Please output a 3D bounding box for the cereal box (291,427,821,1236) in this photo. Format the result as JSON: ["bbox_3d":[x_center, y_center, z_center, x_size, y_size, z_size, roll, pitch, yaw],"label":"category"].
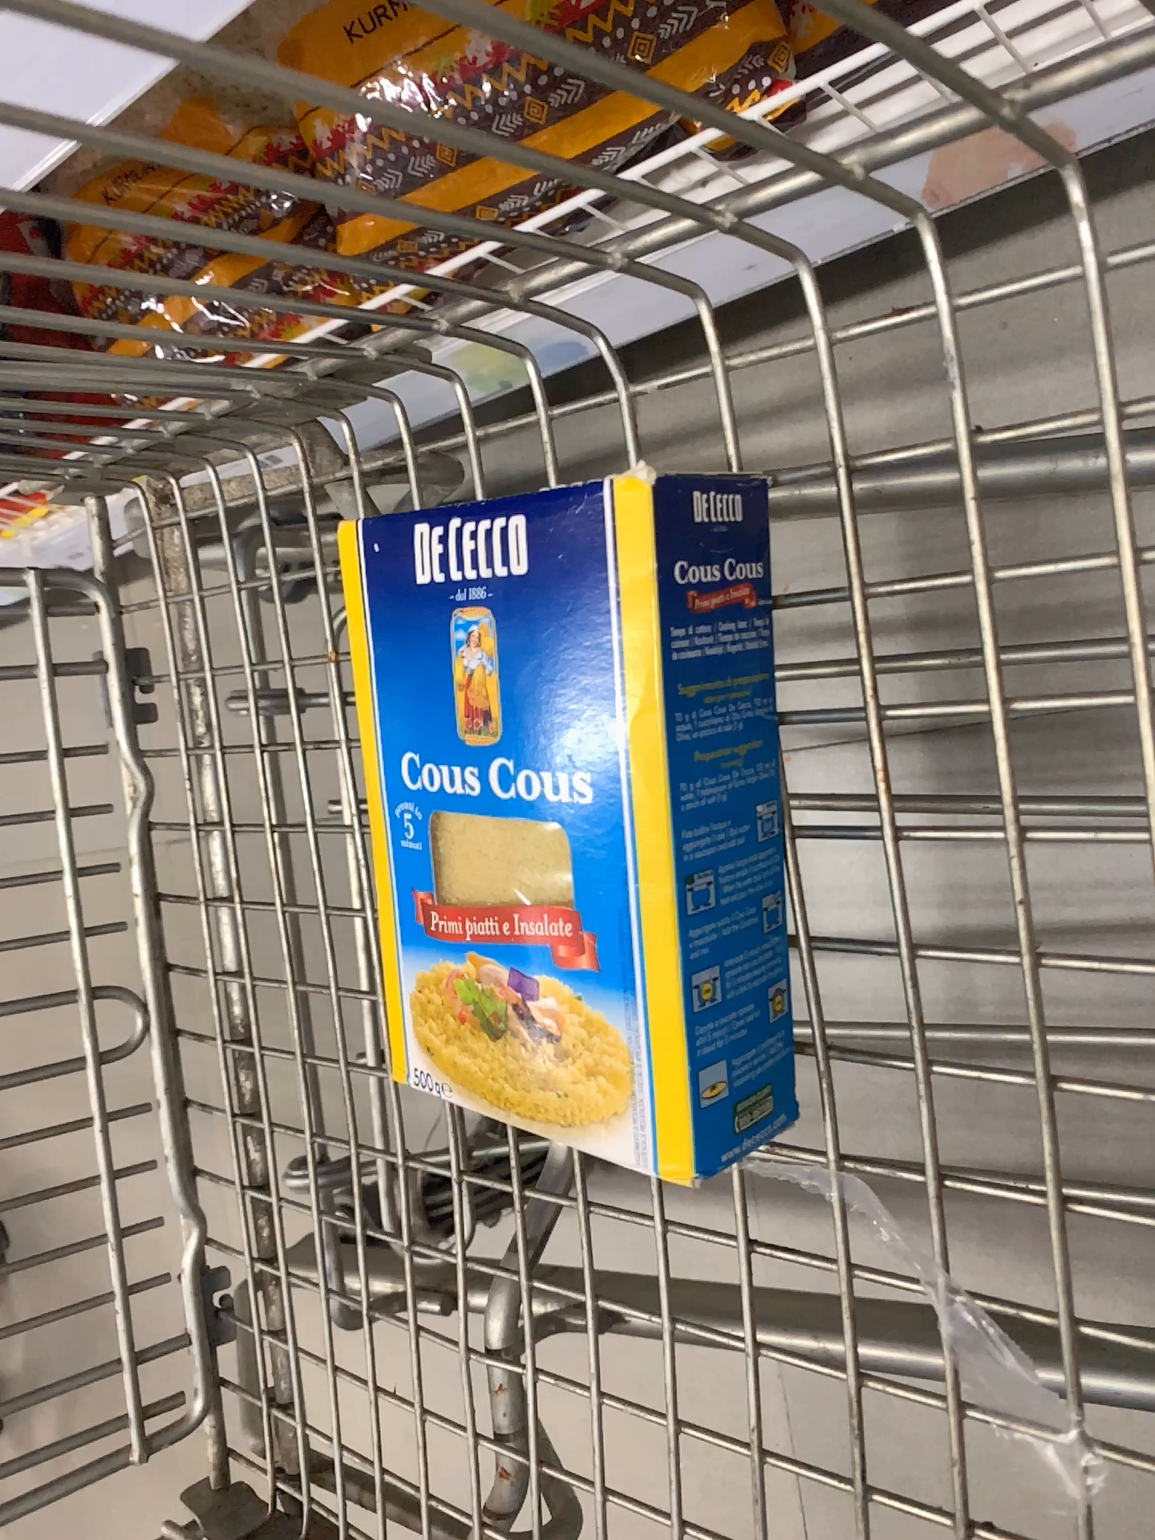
[{"bbox_3d":[-0.009,0.010,0.291,0.121,0.050,0.160,3,100,44],"label":"cereal box"}]
